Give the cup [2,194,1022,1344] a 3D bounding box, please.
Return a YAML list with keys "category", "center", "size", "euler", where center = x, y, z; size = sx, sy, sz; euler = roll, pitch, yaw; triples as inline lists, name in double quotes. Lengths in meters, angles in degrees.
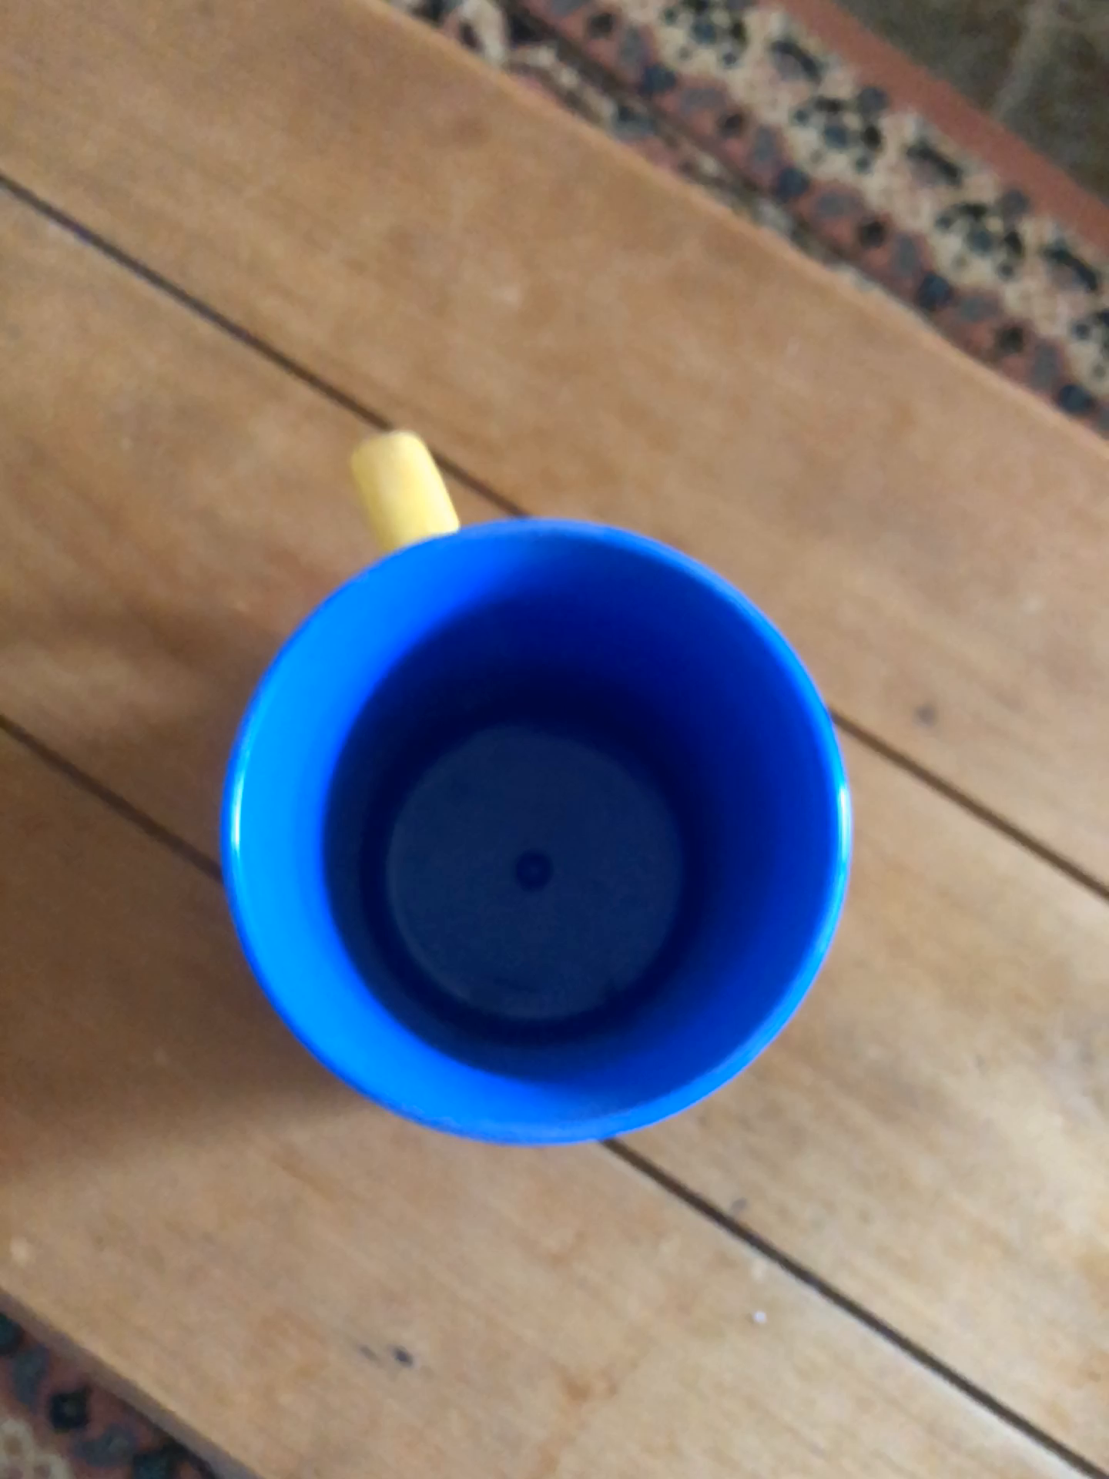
- category: "cup"
  center: [-0.009, 0.007, 0.210]
  size: [0.090, 0.110, 0.120]
  euler: [-20, 81, -6]
